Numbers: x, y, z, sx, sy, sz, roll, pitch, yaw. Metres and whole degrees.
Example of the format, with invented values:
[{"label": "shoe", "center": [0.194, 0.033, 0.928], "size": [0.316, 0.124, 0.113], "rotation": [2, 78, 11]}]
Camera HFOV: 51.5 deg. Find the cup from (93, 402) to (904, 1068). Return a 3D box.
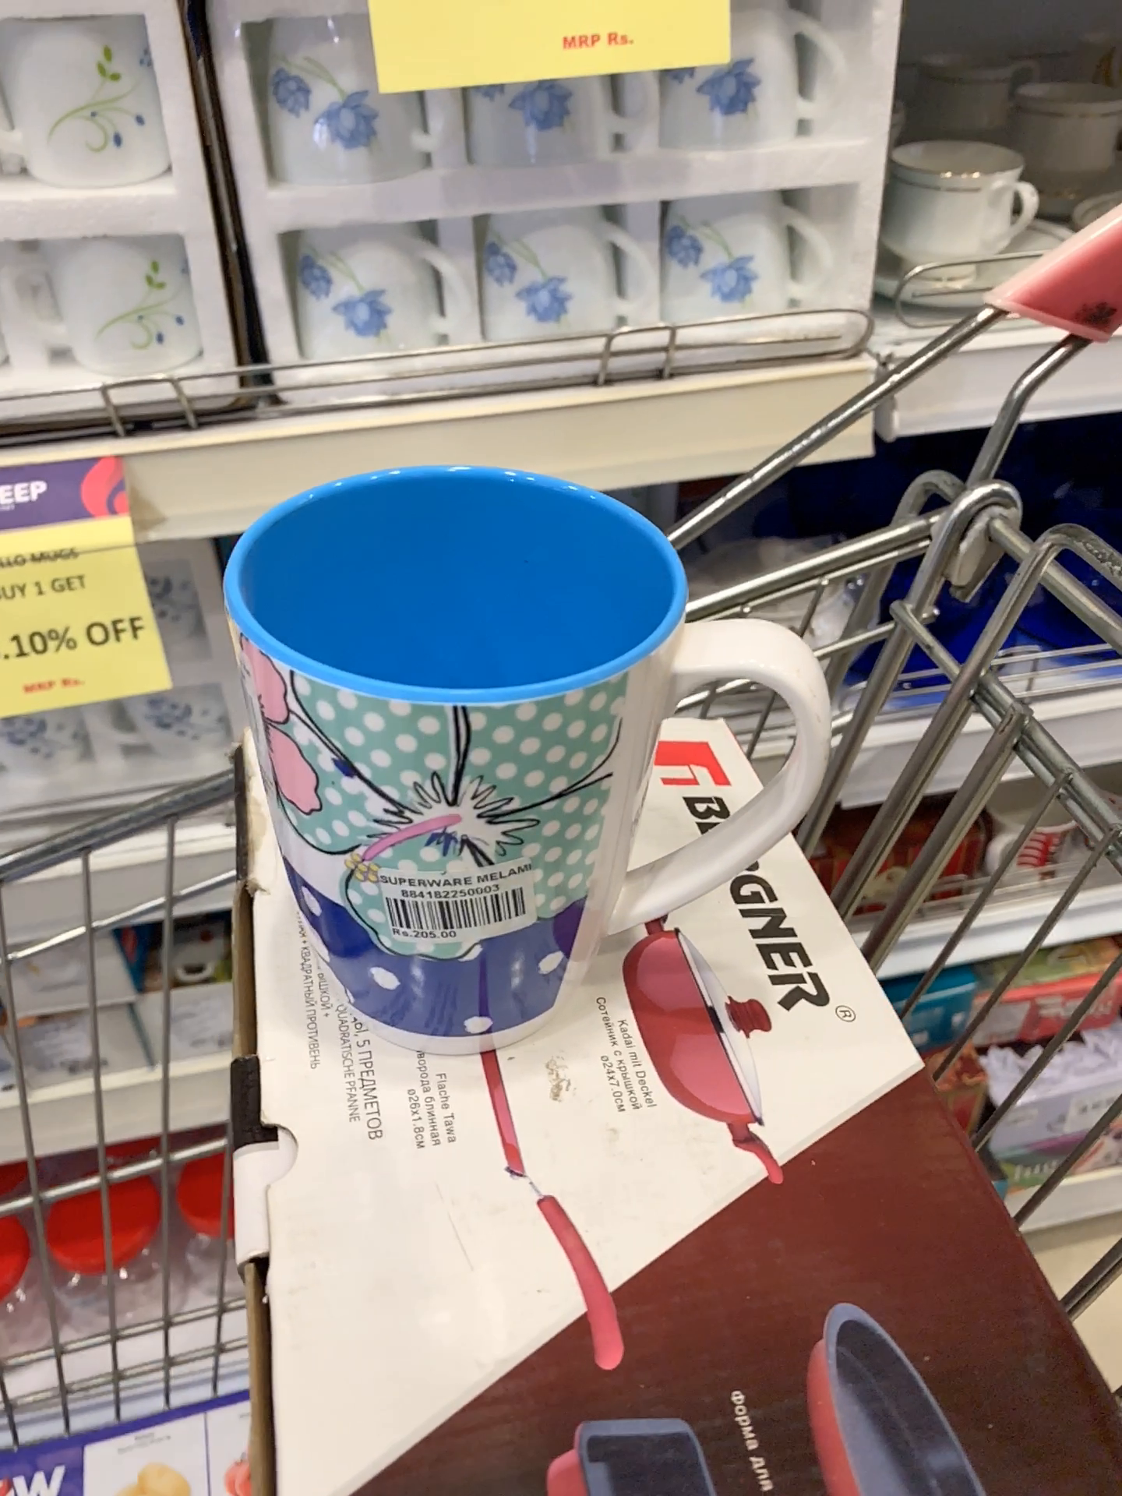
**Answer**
[{"label": "cup", "center": [-0.010, -0.003, 0.234], "size": [0.120, 0.100, 0.080], "rotation": [3, 39, 0]}]
